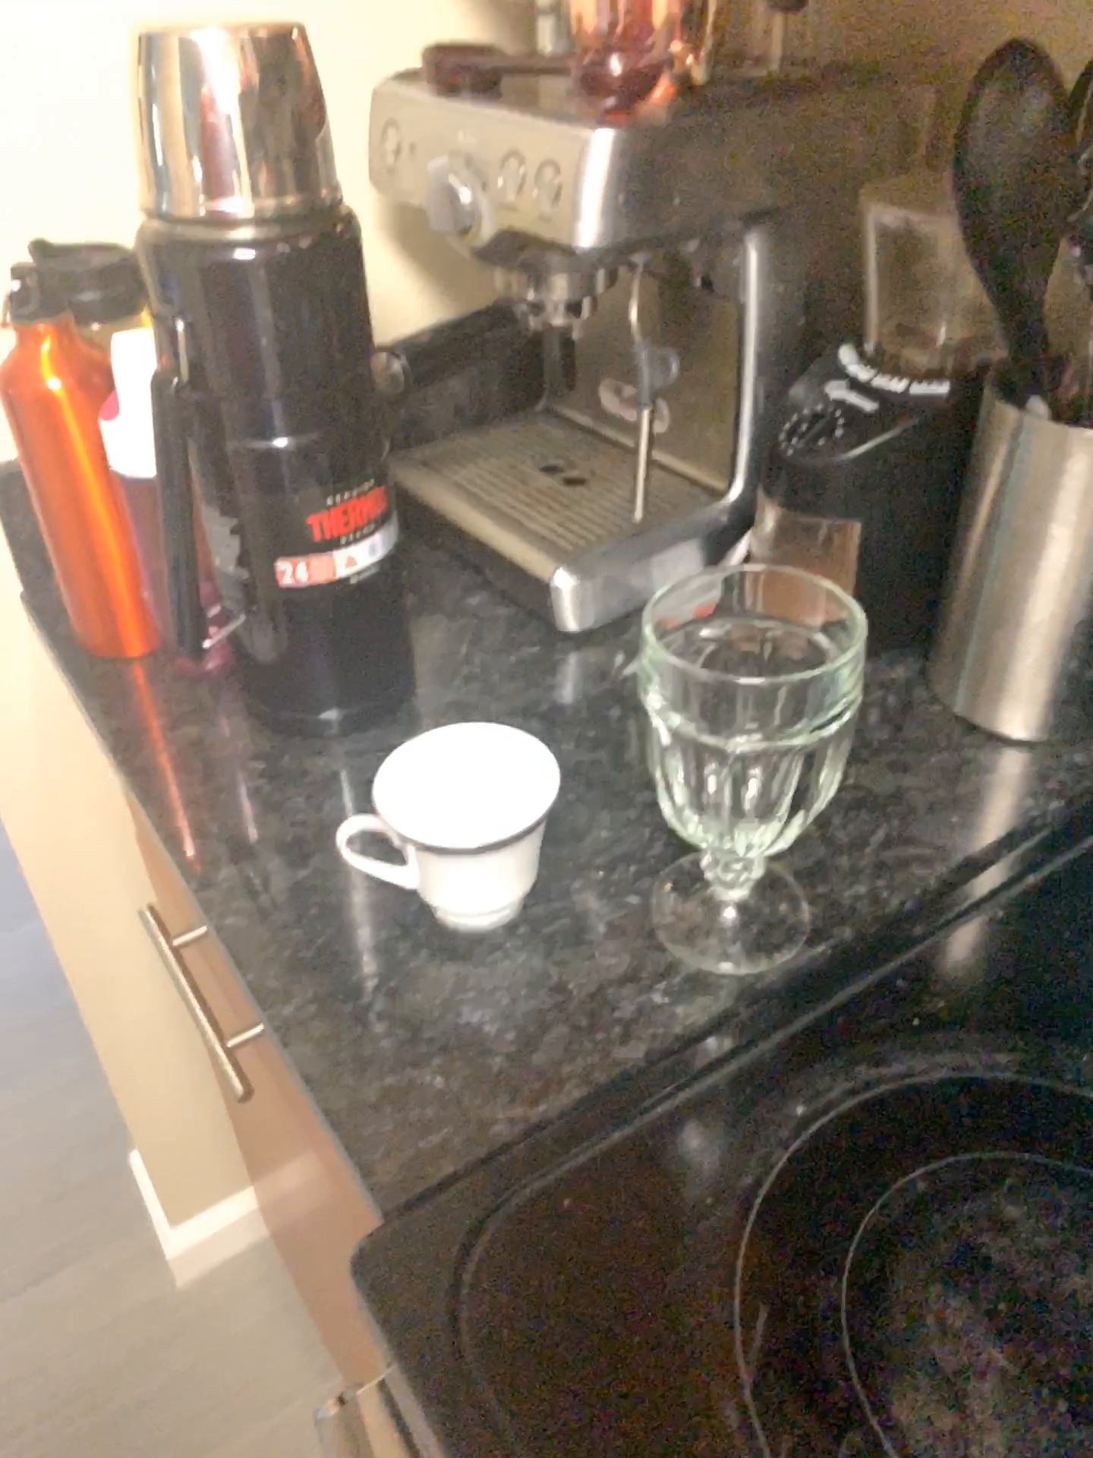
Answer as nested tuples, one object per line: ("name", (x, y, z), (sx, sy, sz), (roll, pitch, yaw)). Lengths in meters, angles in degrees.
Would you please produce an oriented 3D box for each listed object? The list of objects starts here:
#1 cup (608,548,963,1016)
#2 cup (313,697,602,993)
("cup", (0.100, 0.024, 0.528), (0.110, 0.169, 0.101), (-1, 37, 1))
("cup", (-0.044, 0.052, 0.553), (0.110, 0.070, 0.101), (-1, 37, 1))
